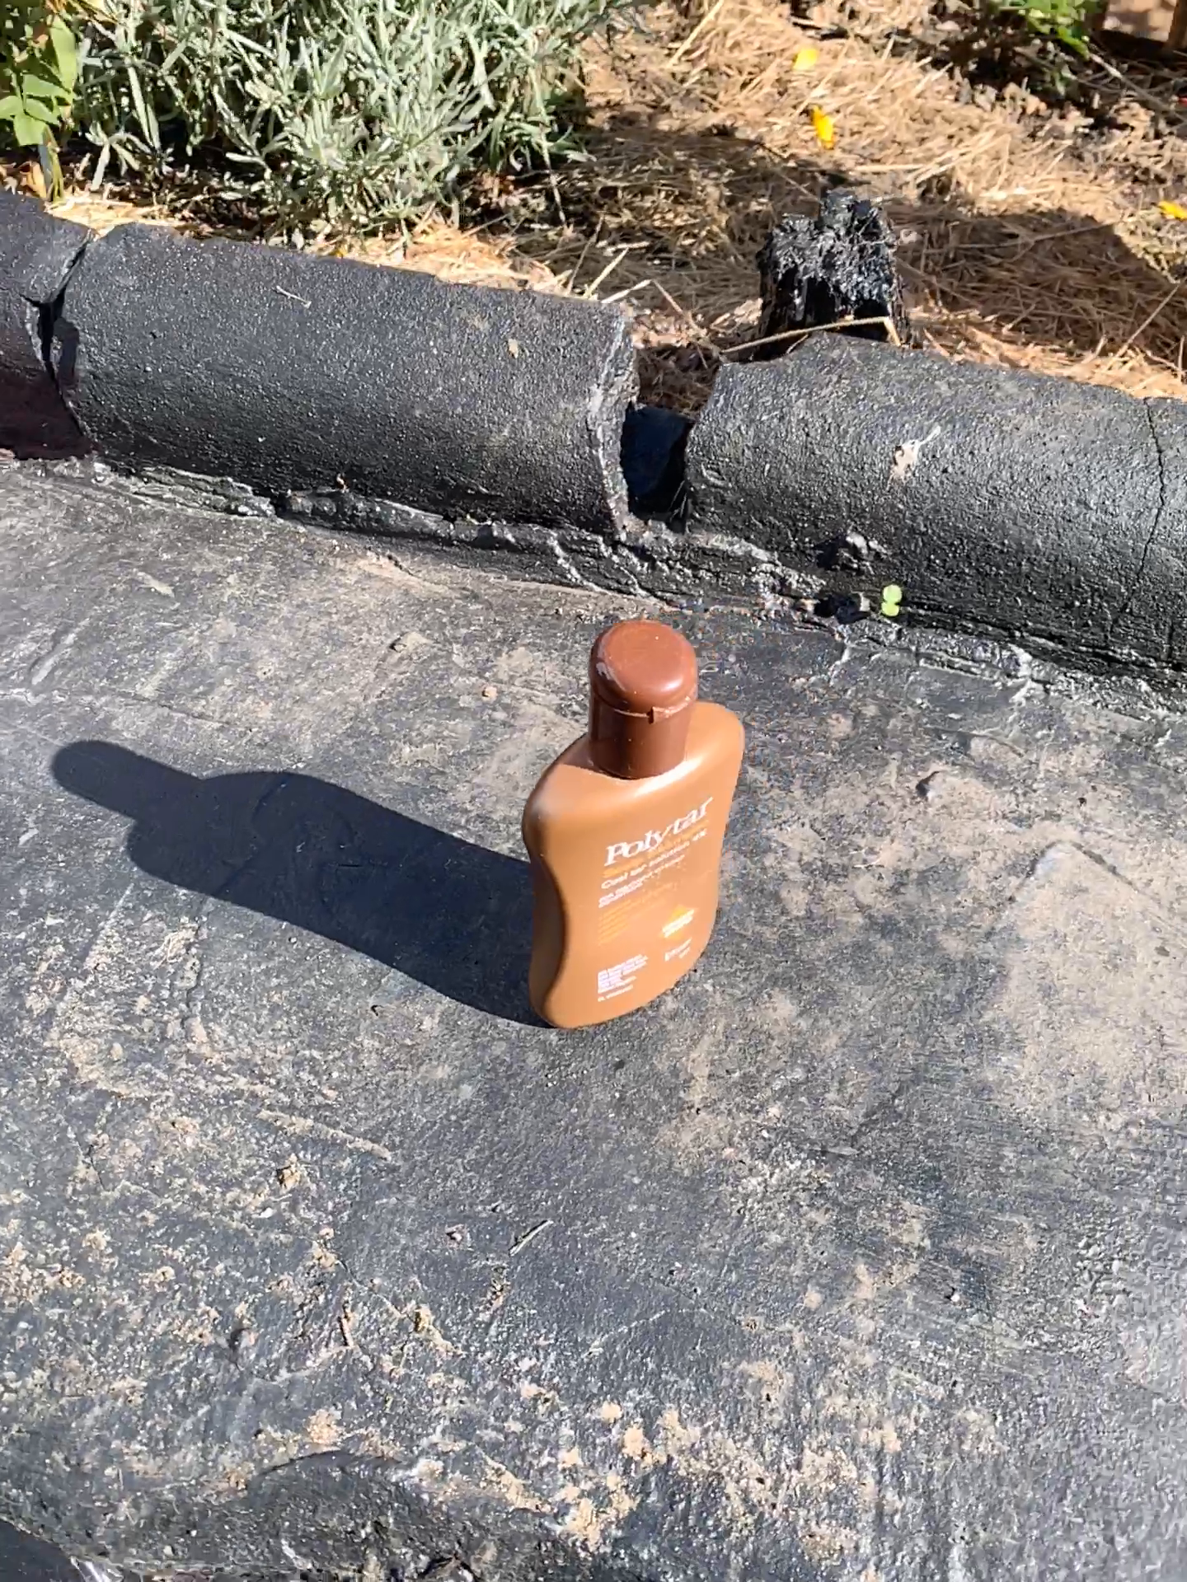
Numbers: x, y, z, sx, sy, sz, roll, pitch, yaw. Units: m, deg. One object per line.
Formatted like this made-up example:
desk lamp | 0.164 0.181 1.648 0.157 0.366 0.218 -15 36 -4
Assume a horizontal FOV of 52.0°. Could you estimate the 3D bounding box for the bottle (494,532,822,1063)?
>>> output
bottle | 0.015 0.009 0.351 0.070 0.149 0.040 -29 56 -24
